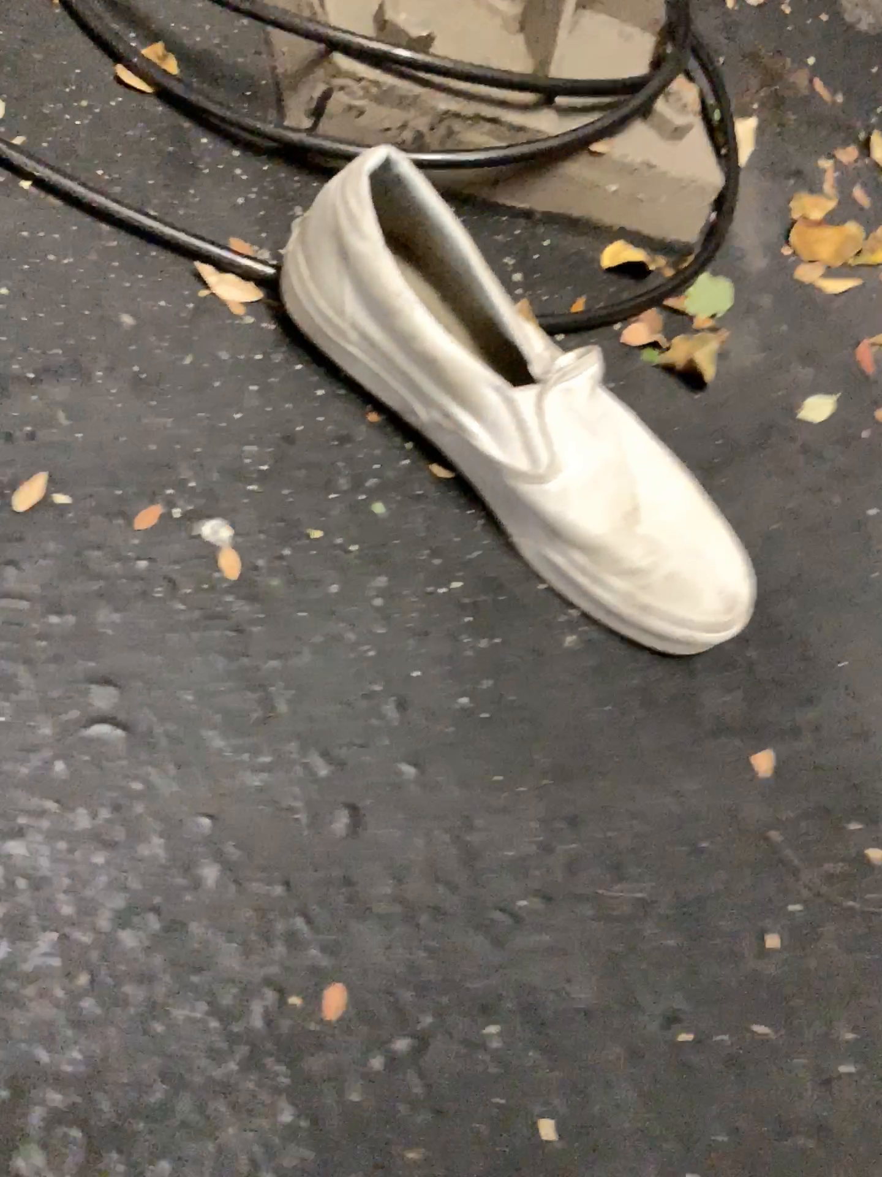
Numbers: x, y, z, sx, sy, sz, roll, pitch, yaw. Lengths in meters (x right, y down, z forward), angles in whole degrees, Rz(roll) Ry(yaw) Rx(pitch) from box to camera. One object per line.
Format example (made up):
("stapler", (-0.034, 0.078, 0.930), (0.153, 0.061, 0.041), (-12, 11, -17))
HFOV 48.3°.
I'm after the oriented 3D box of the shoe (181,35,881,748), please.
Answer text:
("shoe", (0.046, -0.088, 0.457), (0.310, 0.100, 0.120), (44, 52, -3))
